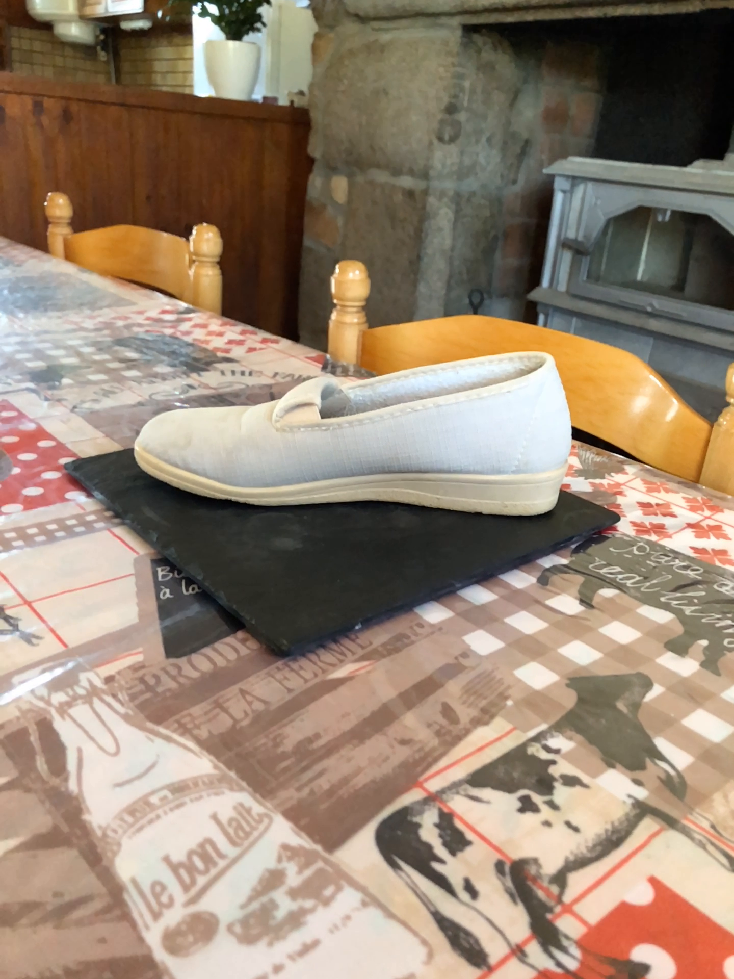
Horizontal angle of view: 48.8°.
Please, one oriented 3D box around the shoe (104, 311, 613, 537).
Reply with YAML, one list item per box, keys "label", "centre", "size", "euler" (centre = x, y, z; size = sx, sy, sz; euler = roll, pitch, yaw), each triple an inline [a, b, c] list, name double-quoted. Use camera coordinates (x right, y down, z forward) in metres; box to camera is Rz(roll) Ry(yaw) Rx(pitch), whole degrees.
- label: "shoe"
  centre: [-0.005, -0.041, 0.457]
  size: [0.250, 0.080, 0.101]
  euler: [5, 22, 0]
